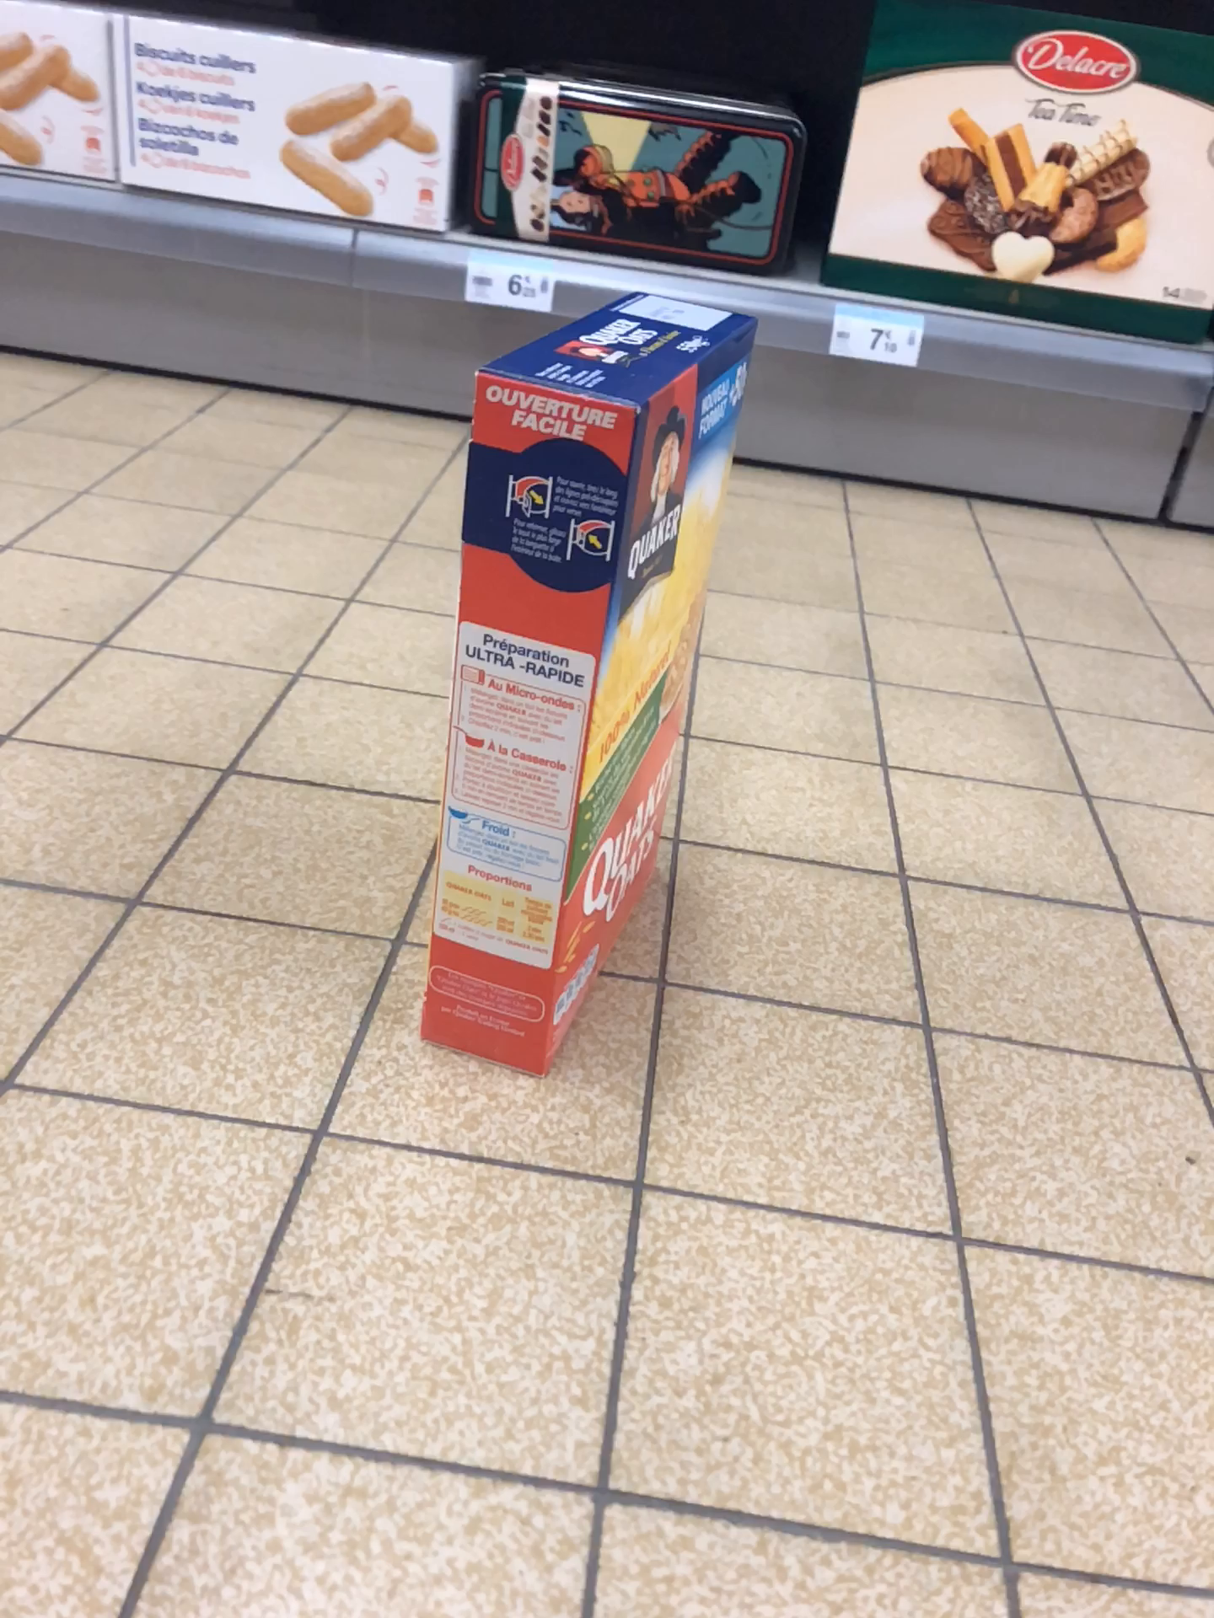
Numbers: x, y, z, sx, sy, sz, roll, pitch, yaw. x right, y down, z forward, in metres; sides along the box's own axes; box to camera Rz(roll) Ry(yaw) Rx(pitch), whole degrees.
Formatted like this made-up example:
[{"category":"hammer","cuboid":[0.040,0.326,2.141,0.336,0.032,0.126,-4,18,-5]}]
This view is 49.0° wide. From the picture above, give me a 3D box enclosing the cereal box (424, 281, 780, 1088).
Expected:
[{"category":"cereal box","cuboid":[-0.002,-0.044,0.448,0.050,0.229,0.141,16,31,12]}]
